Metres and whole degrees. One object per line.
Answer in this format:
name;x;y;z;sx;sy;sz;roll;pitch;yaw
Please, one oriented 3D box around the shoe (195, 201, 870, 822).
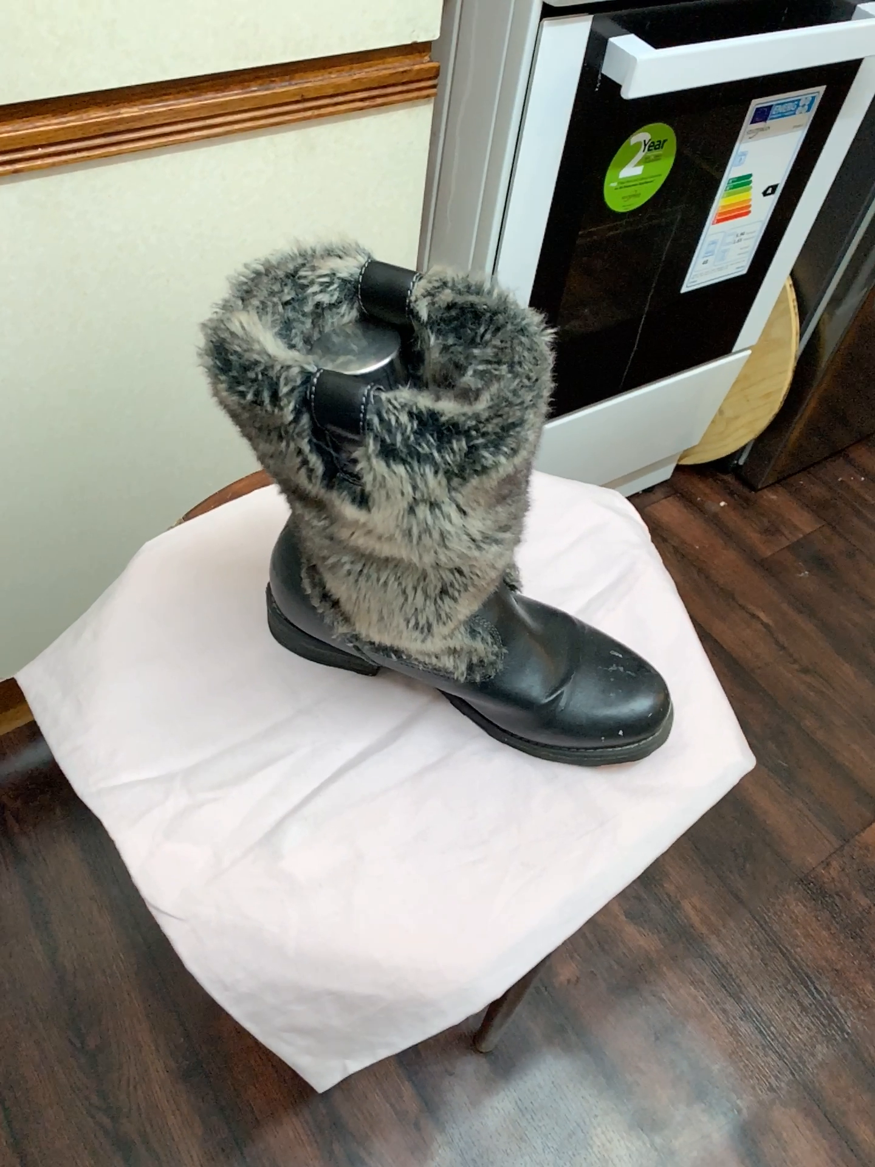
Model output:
shoe;0.035;-0.026;0.474;0.270;0.238;0.121;19;51;8
